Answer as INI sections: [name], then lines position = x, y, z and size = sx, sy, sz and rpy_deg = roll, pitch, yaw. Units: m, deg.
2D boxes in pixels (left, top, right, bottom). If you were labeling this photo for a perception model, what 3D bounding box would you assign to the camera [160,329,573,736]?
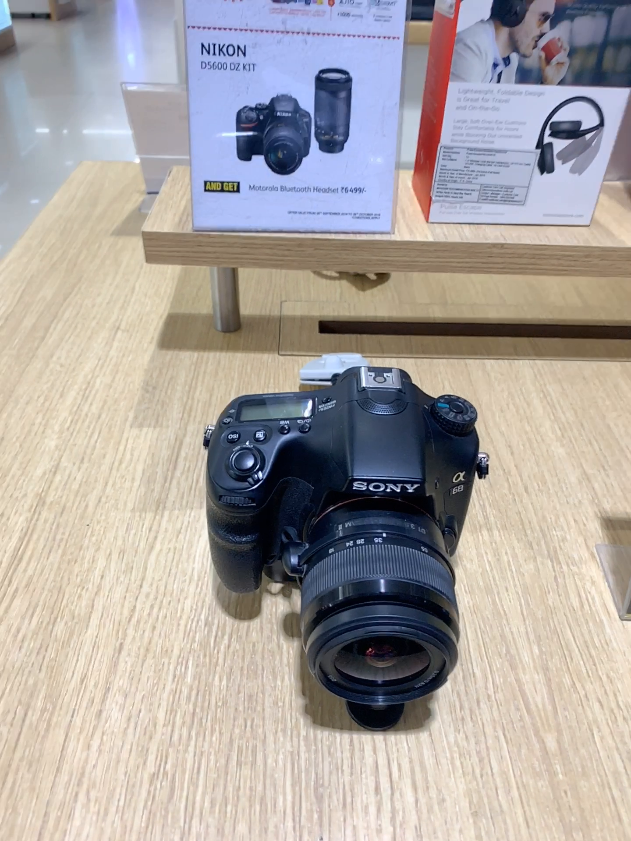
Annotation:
[camera]
position = 0.014, 0.036, 0.296
size = 0.130, 0.070, 0.181
rpy_deg = 1, 39, -2
